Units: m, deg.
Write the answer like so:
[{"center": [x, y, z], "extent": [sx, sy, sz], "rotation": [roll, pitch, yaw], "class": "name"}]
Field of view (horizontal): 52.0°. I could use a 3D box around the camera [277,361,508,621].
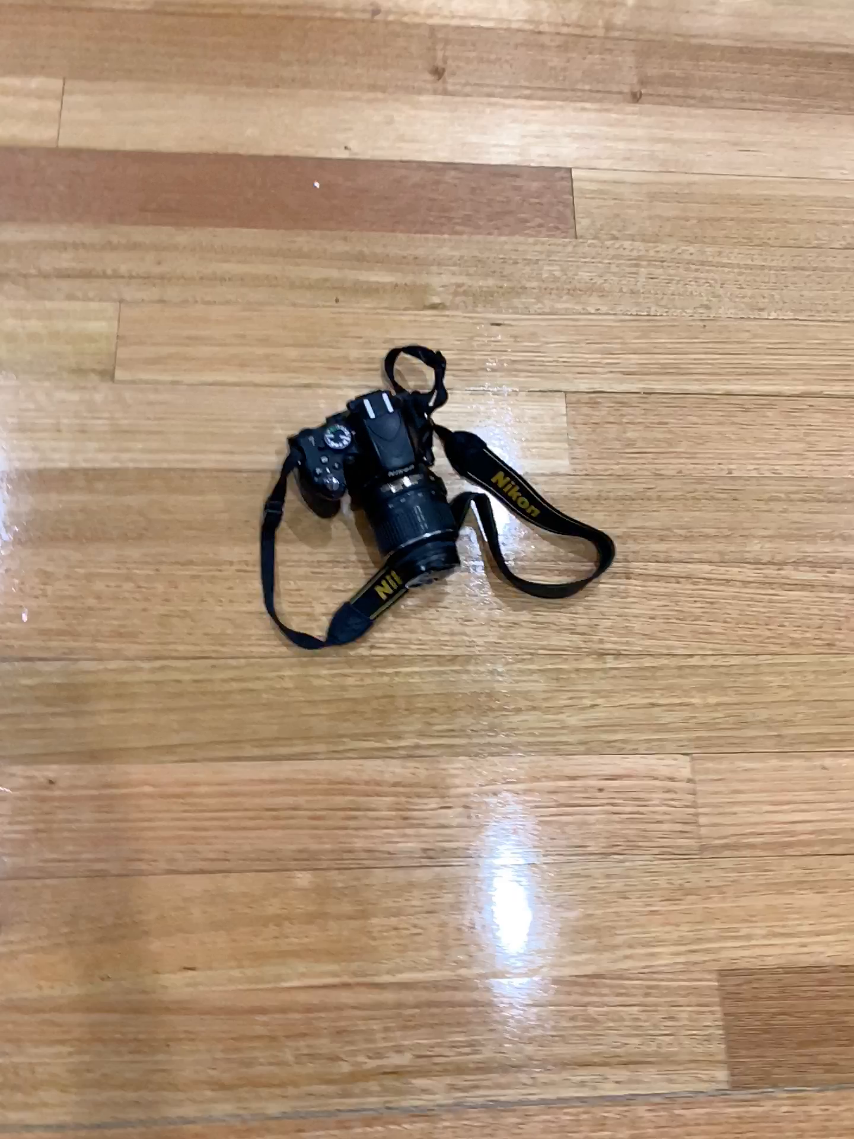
[{"center": [-0.033, -0.065, 0.749], "extent": [0.130, 0.100, 0.160], "rotation": [-23, 77, -11], "class": "camera"}]
